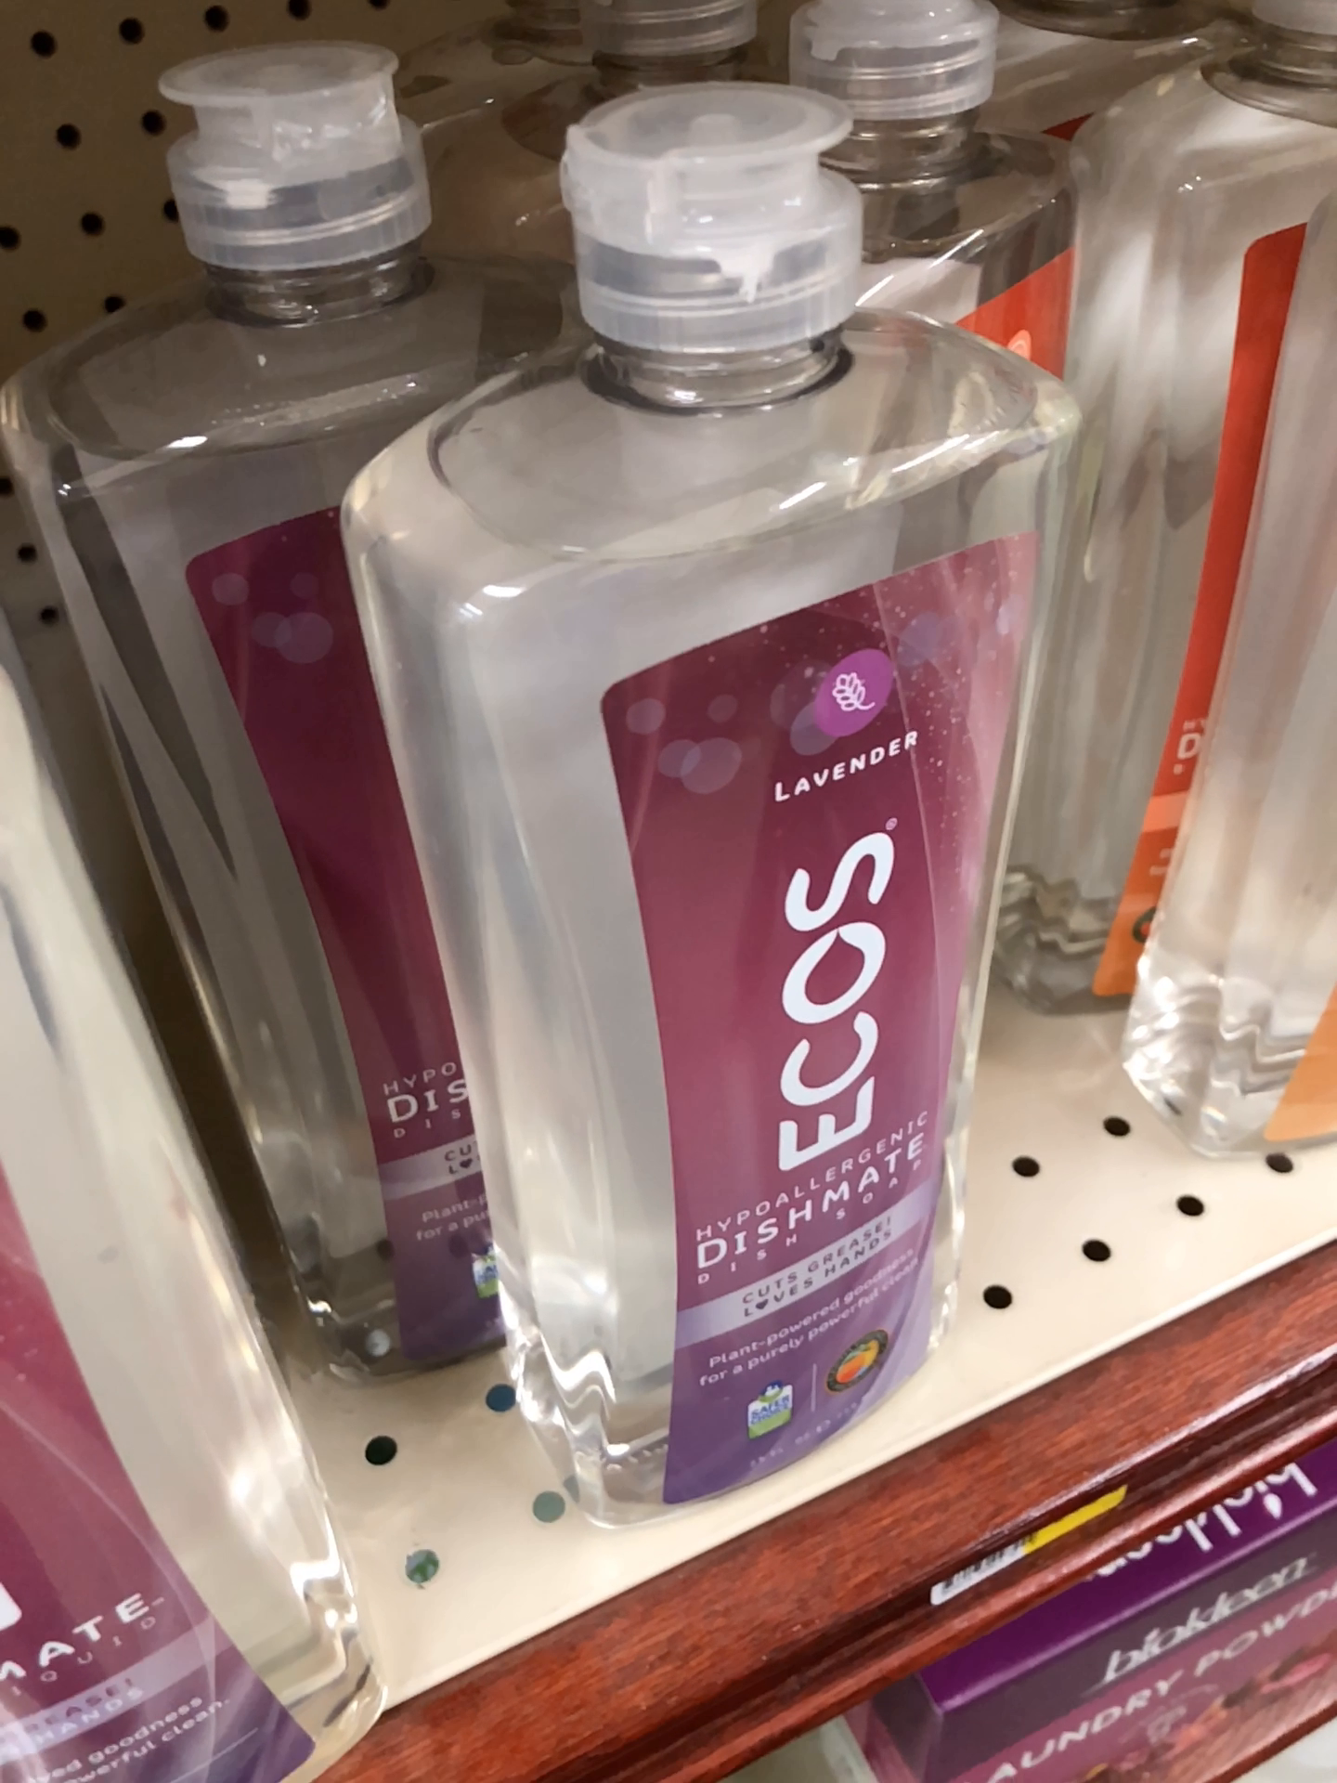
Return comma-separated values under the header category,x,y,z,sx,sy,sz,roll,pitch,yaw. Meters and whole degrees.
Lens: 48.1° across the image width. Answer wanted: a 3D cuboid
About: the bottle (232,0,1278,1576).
category,x,y,z,sx,sy,sz,roll,pitch,yaw
bottle,0.011,0.008,0.228,0.090,0.244,0.048,-22,46,-20
